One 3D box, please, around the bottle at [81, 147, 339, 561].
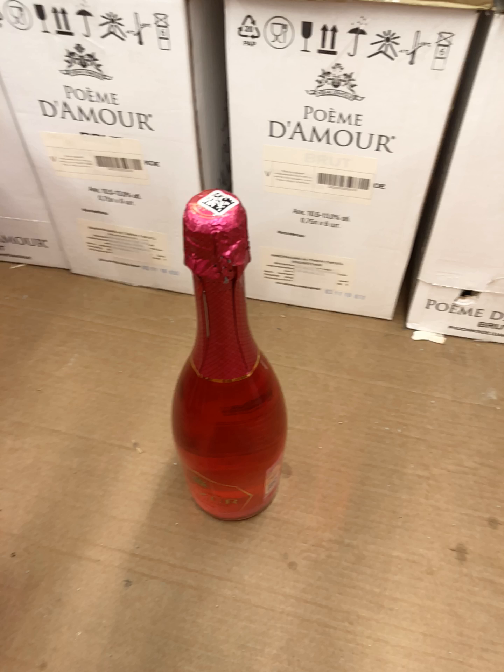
[{"bbox_3d":[-0.019,0.044,0.394,0.090,0.320,0.090,0,51,0],"label":"bottle"}]
